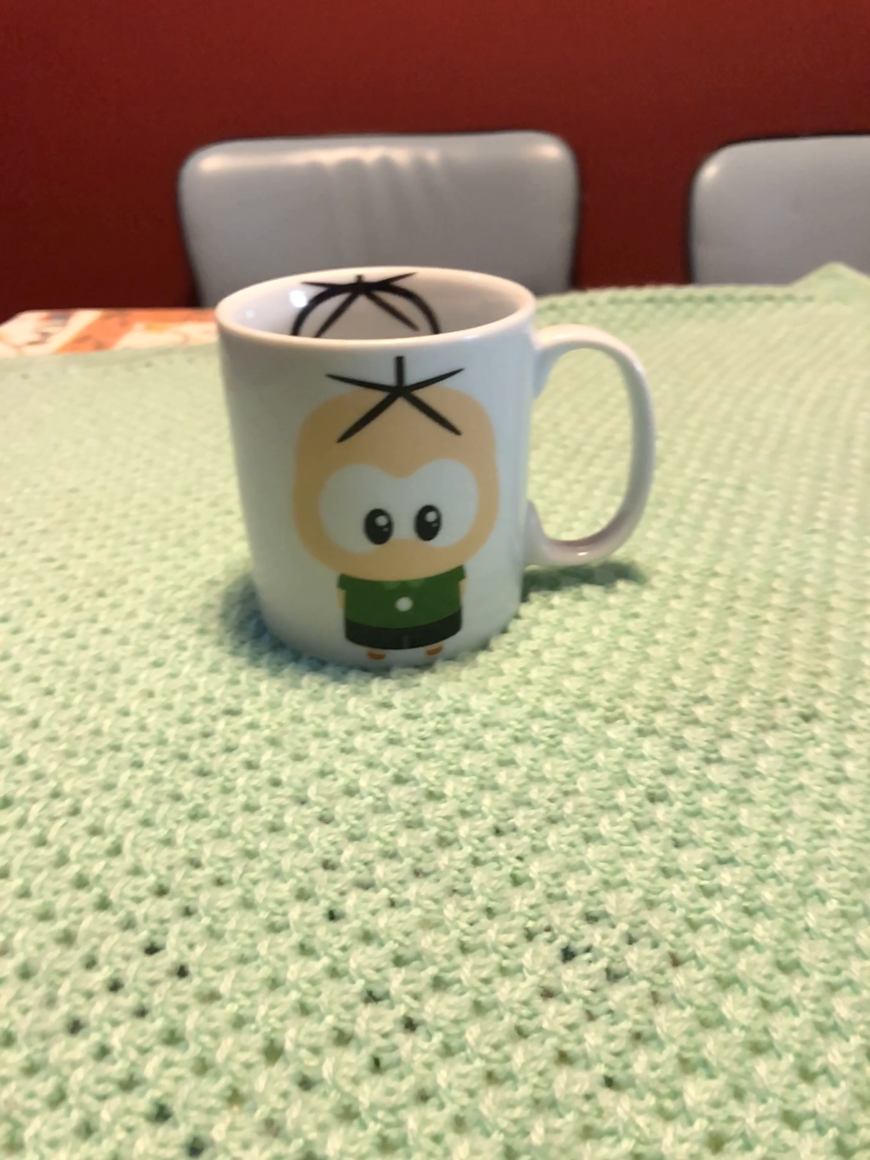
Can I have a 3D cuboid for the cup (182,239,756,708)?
[{"bbox_3d":[0.007,-0.035,0.283,0.130,0.099,0.091,-4,29,-2],"label":"cup"}]
